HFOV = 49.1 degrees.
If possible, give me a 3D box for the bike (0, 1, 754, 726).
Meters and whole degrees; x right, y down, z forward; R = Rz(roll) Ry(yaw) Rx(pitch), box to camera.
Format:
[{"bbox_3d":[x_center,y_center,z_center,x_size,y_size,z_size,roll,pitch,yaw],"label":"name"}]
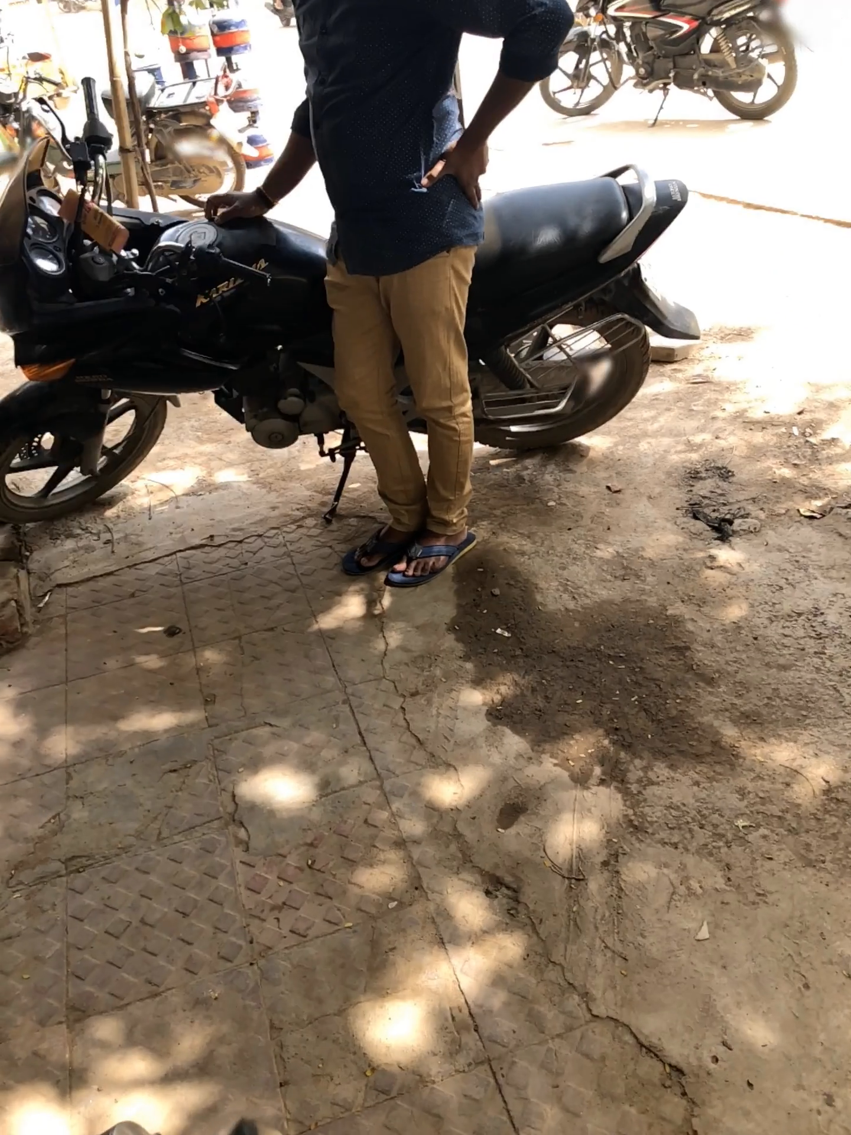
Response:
[{"bbox_3d":[-0.313,-0.522,2.166,1.892,1.177,0.801,-10,35,-6],"label":"bike"}]
